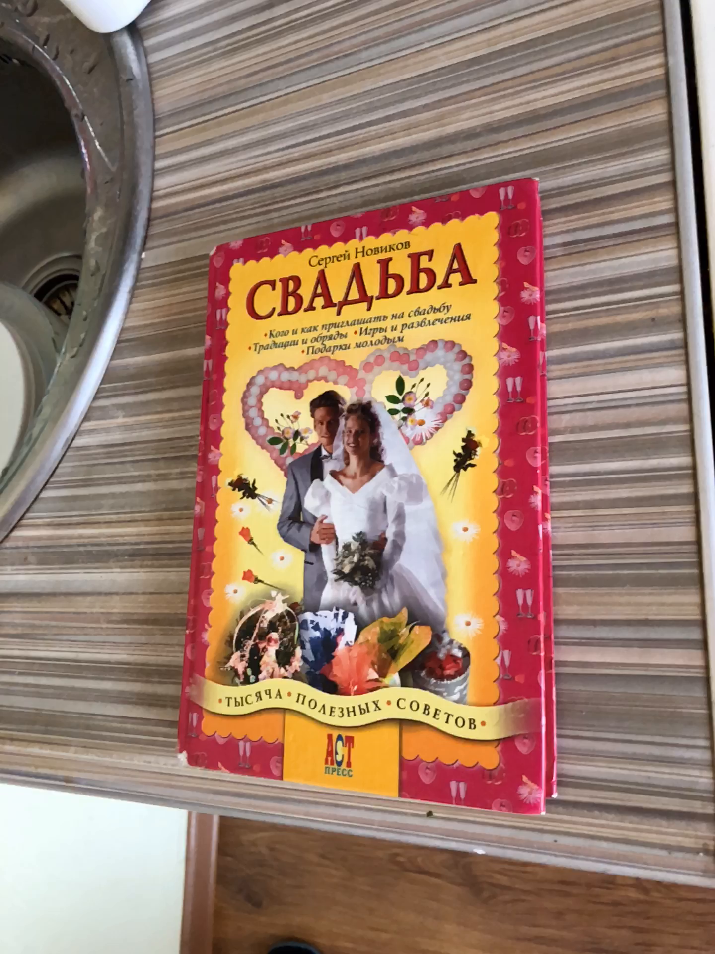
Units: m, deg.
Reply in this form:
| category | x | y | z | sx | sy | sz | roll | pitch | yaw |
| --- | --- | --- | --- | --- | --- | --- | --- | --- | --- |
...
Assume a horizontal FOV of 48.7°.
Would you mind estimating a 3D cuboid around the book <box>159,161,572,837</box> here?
| category | x | y | z | sx | sy | sz | roll | pitch | yaw |
| --- | --- | --- | --- | --- | --- | --- | --- | --- | --- |
| book | 0.000 | 0.004 | 0.296 | 0.150 | 0.020 | 0.220 | -3 | 78 | 26 |
